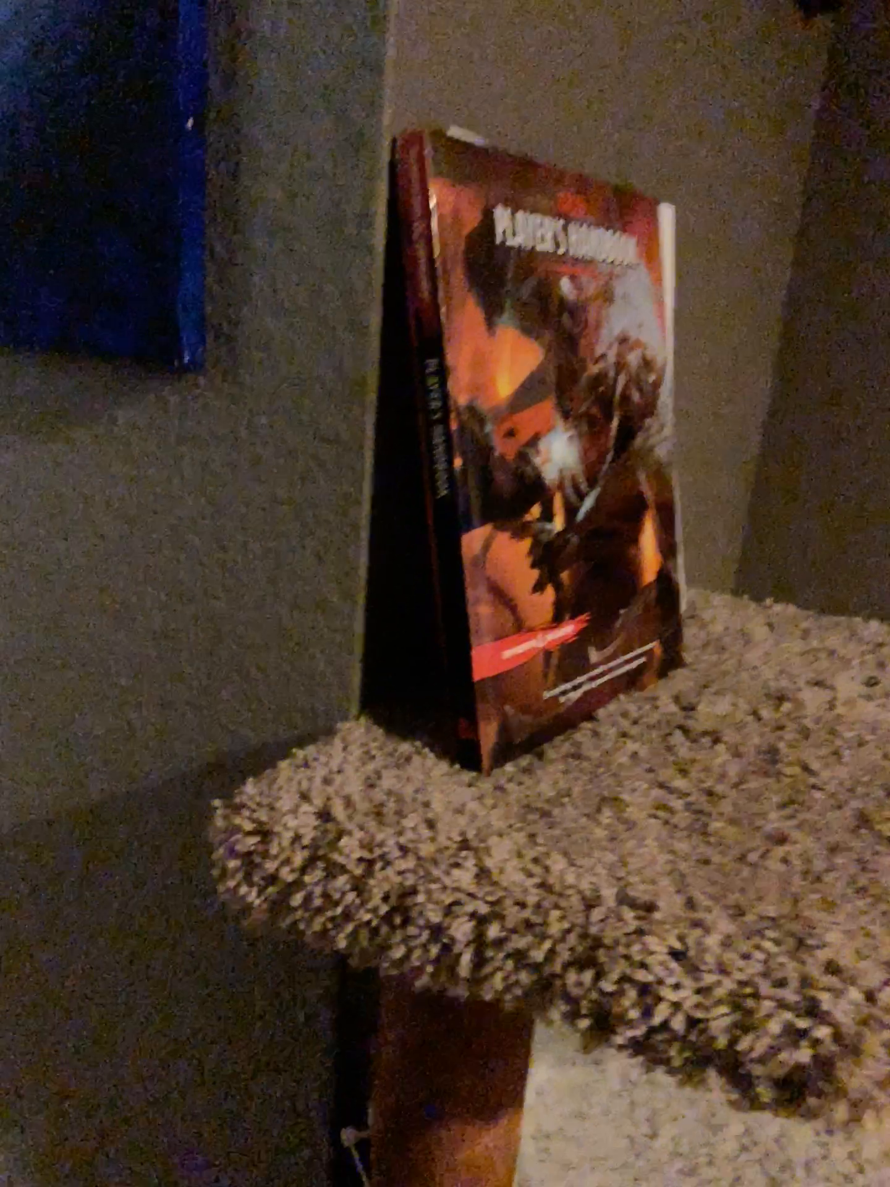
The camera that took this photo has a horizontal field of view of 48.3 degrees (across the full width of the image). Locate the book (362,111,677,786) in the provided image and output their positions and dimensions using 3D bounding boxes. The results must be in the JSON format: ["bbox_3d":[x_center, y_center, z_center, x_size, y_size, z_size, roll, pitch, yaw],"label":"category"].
[{"bbox_3d":[0.056,-0.075,0.532,0.040,0.290,0.230,5,13,37],"label":"book"}]
